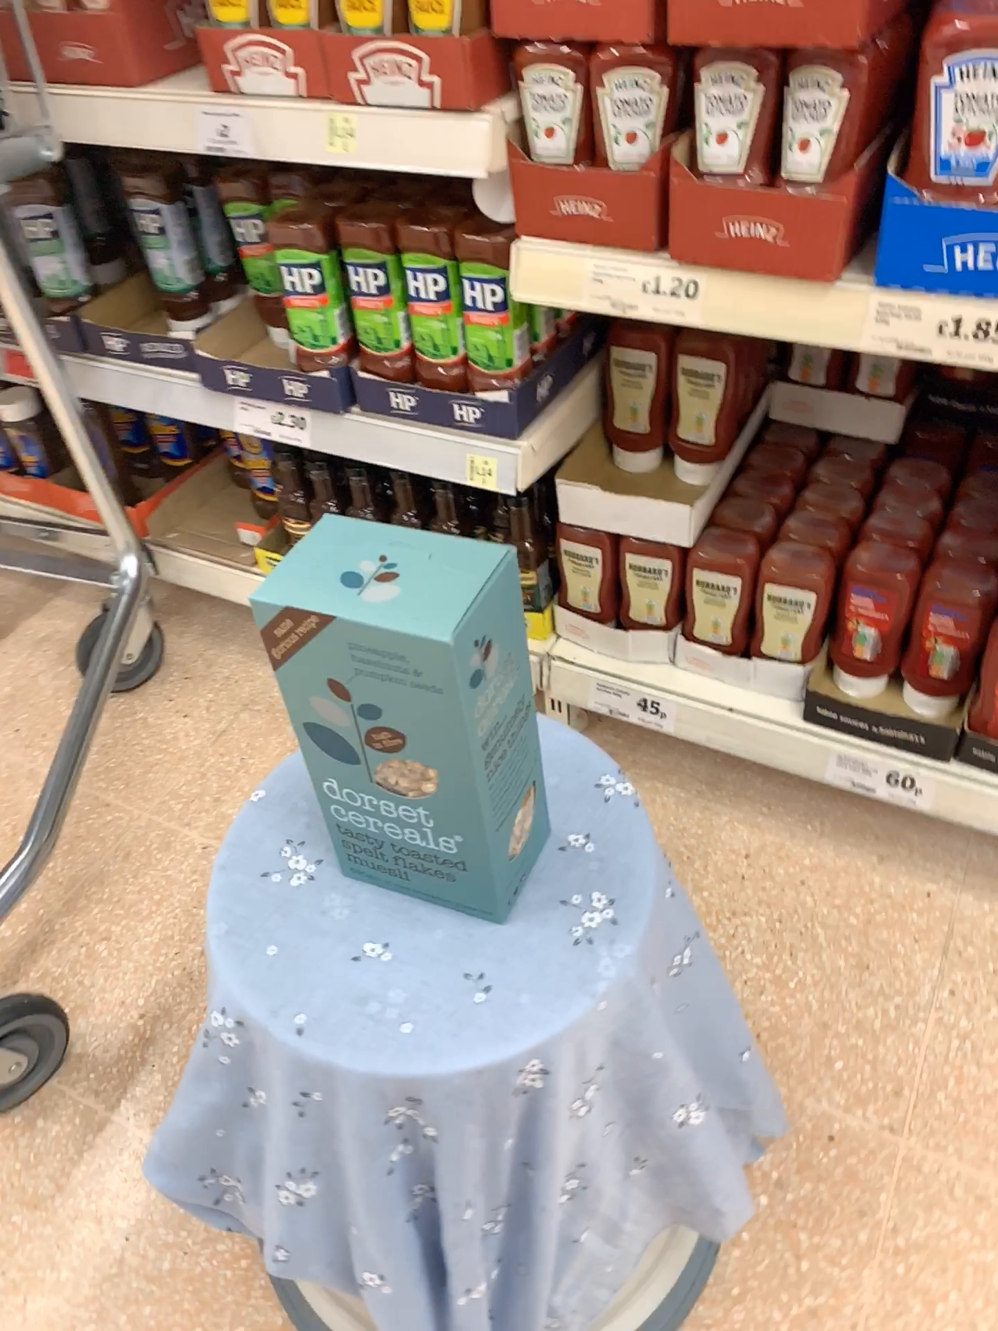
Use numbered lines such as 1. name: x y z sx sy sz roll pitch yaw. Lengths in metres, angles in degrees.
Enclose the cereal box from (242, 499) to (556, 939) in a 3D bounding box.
1. cereal box: -0.044 0.037 0.592 0.120 0.238 0.091 12 45 19
